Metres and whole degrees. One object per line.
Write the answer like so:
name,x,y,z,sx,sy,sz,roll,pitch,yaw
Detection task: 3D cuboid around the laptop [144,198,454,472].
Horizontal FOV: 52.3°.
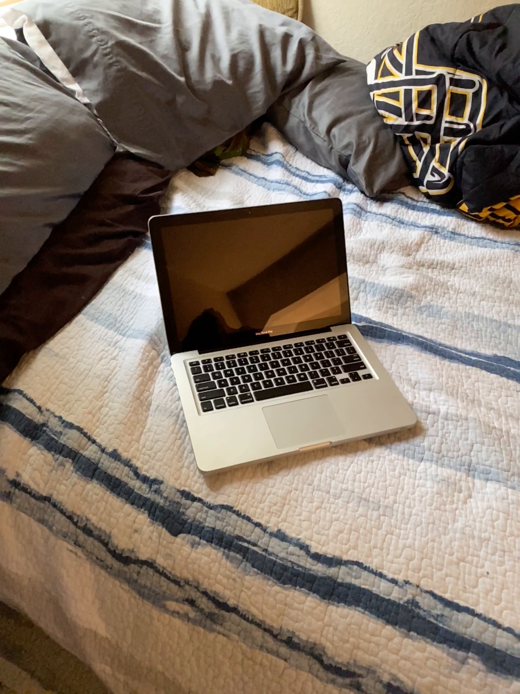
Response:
laptop,0.027,-0.043,0.778,0.320,0.165,0.347,-10,46,-15
